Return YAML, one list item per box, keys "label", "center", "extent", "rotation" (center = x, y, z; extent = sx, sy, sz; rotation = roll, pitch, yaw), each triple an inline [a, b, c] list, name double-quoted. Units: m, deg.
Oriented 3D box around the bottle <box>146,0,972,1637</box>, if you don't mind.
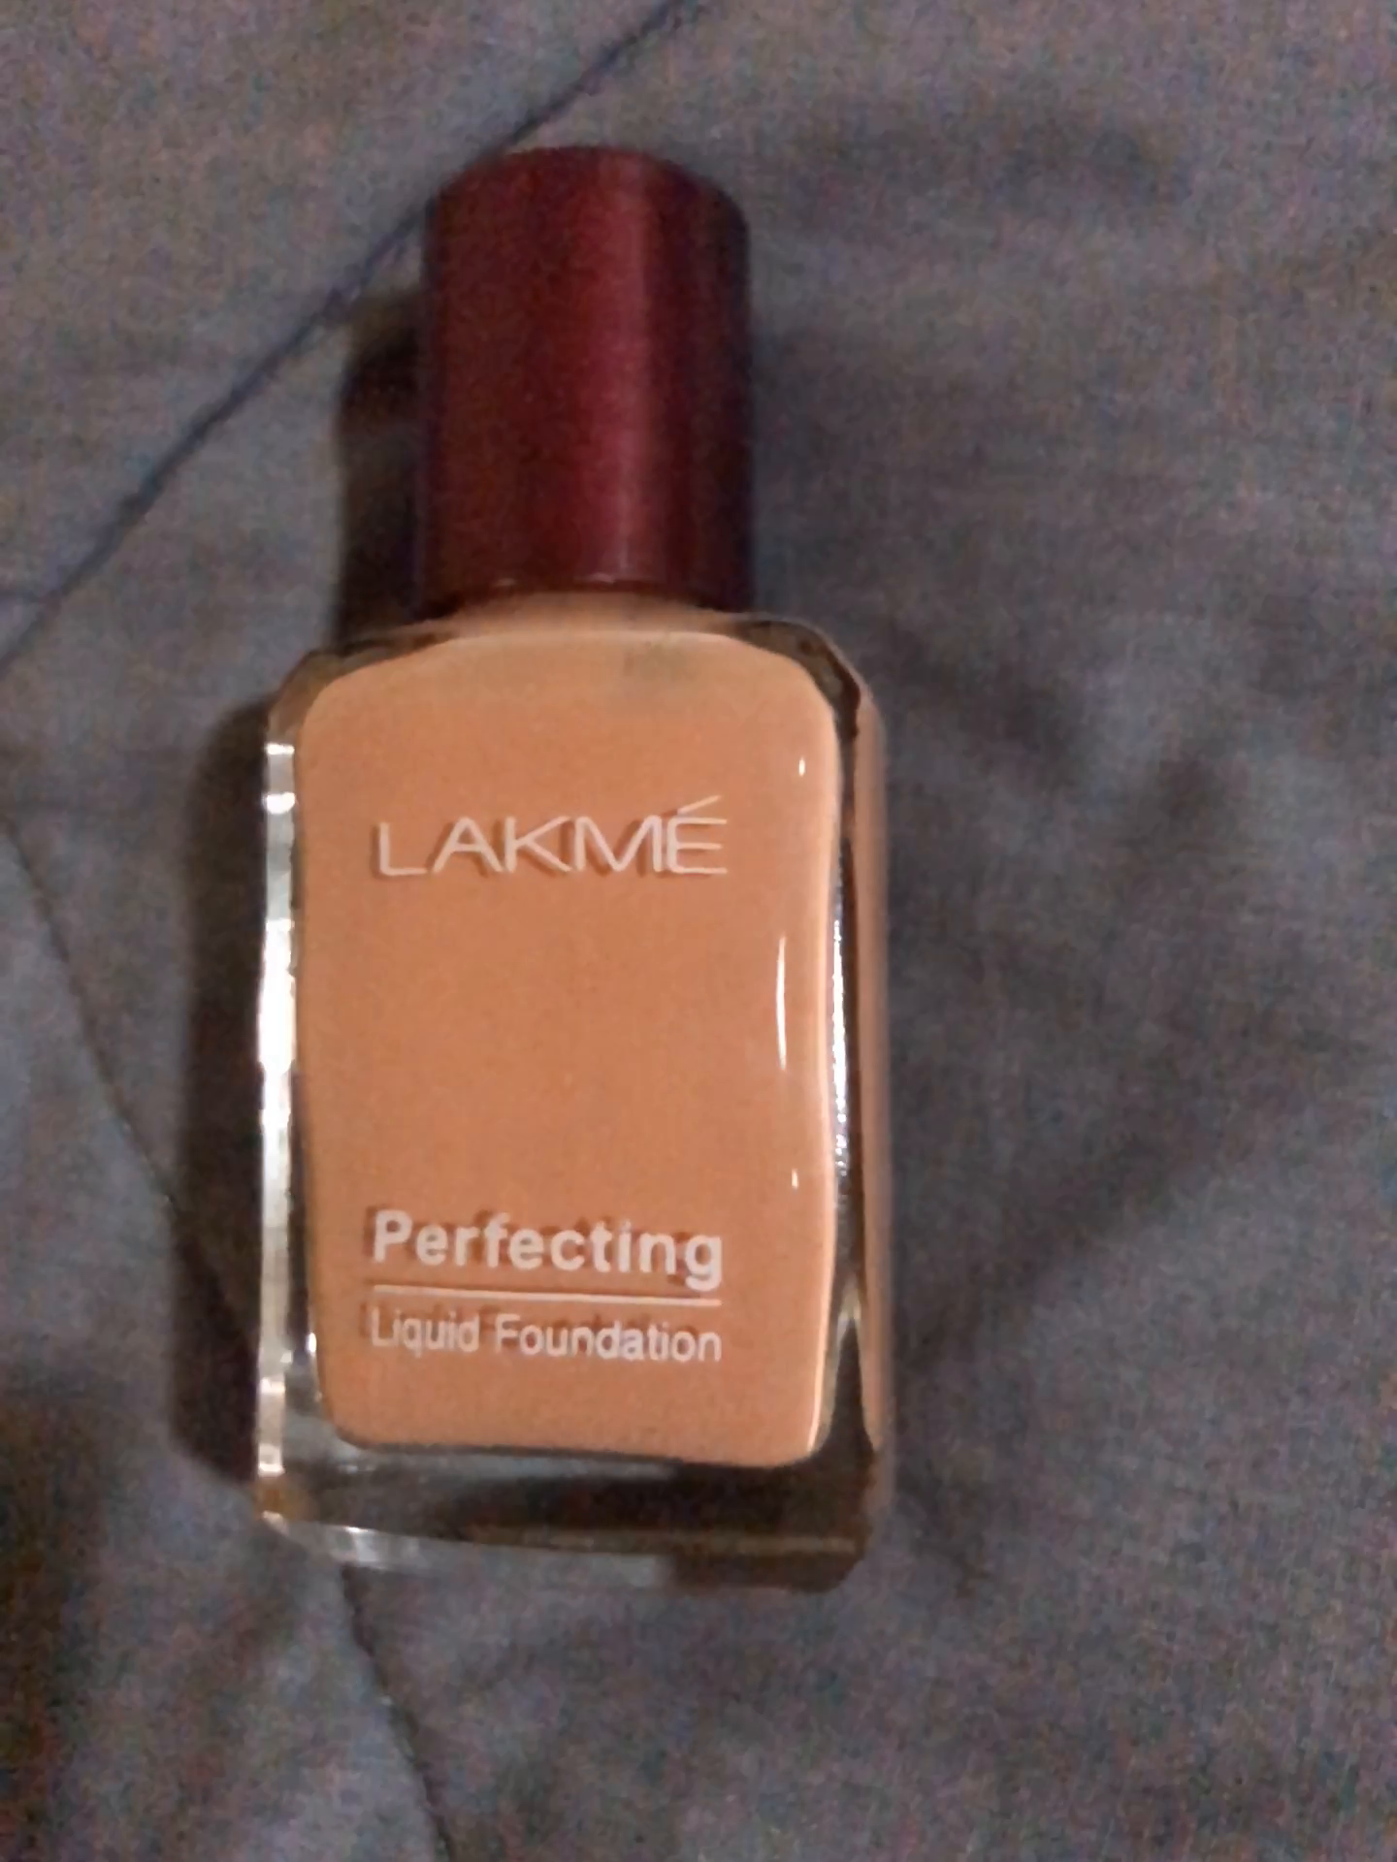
- label: "bottle"
  center: [-0.006, -0.013, 0.116]
  extent: [0.050, 0.030, 0.110]
  rotation: [0, 84, 10]
